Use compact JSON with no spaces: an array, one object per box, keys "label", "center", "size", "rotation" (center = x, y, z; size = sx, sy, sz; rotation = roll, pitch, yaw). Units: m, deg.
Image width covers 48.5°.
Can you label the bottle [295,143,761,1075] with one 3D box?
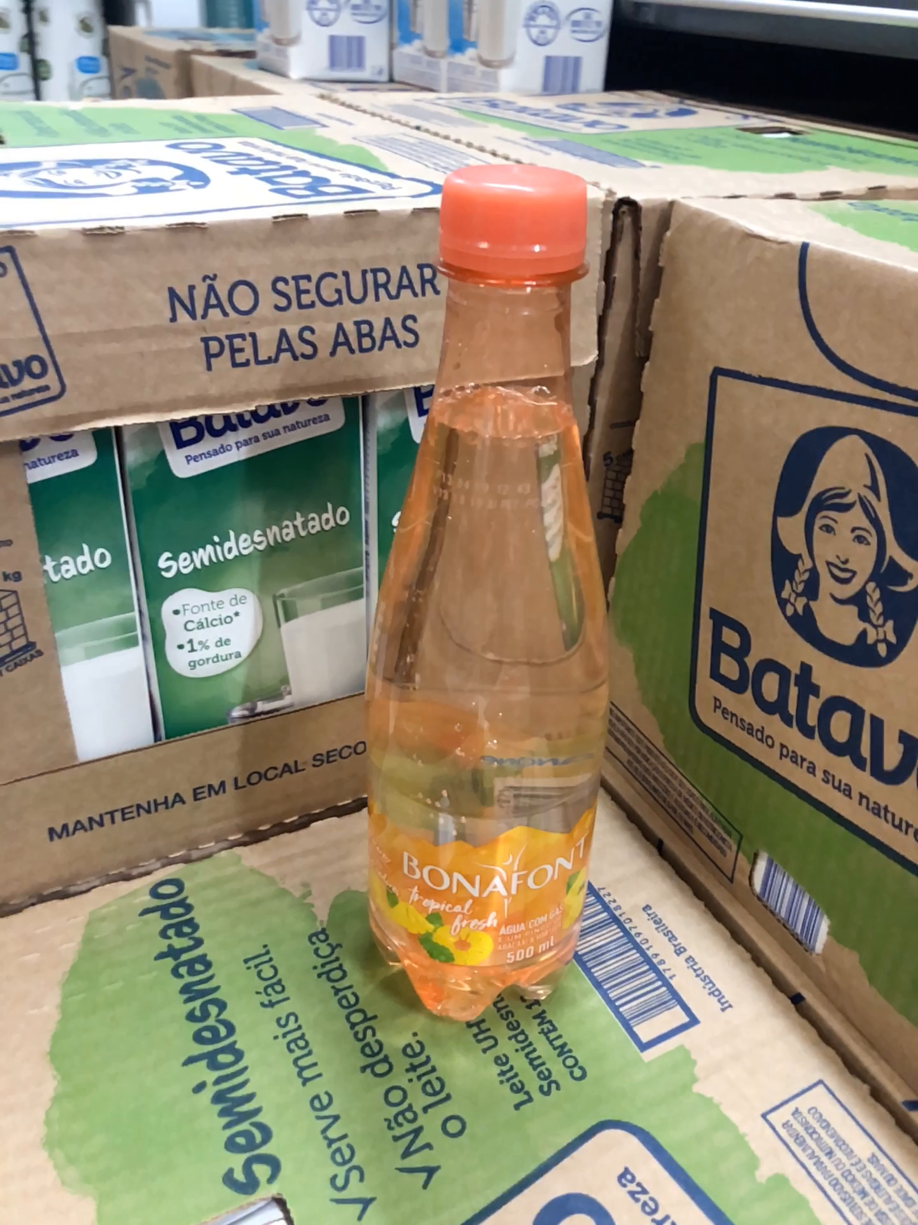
[{"label":"bottle","center":[0.010,0.011,0.263],"size":[0.080,0.228,0.071],"rotation":[7,32,6]}]
